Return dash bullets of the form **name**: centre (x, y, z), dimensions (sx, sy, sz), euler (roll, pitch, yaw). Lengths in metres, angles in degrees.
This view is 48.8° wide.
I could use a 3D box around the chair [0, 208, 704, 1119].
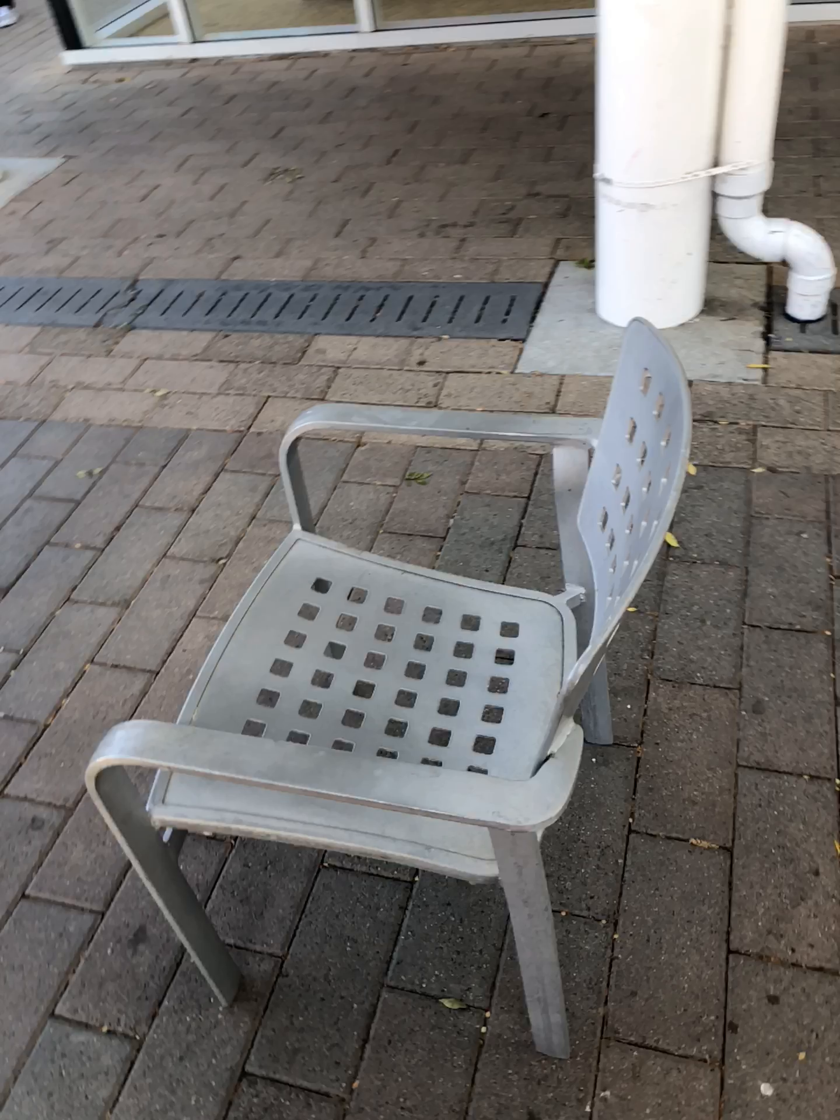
- **chair**: centre (-0.039, 0.117, 1.058), dimensions (0.591, 0.776, 0.632), euler (6, 44, 13)
